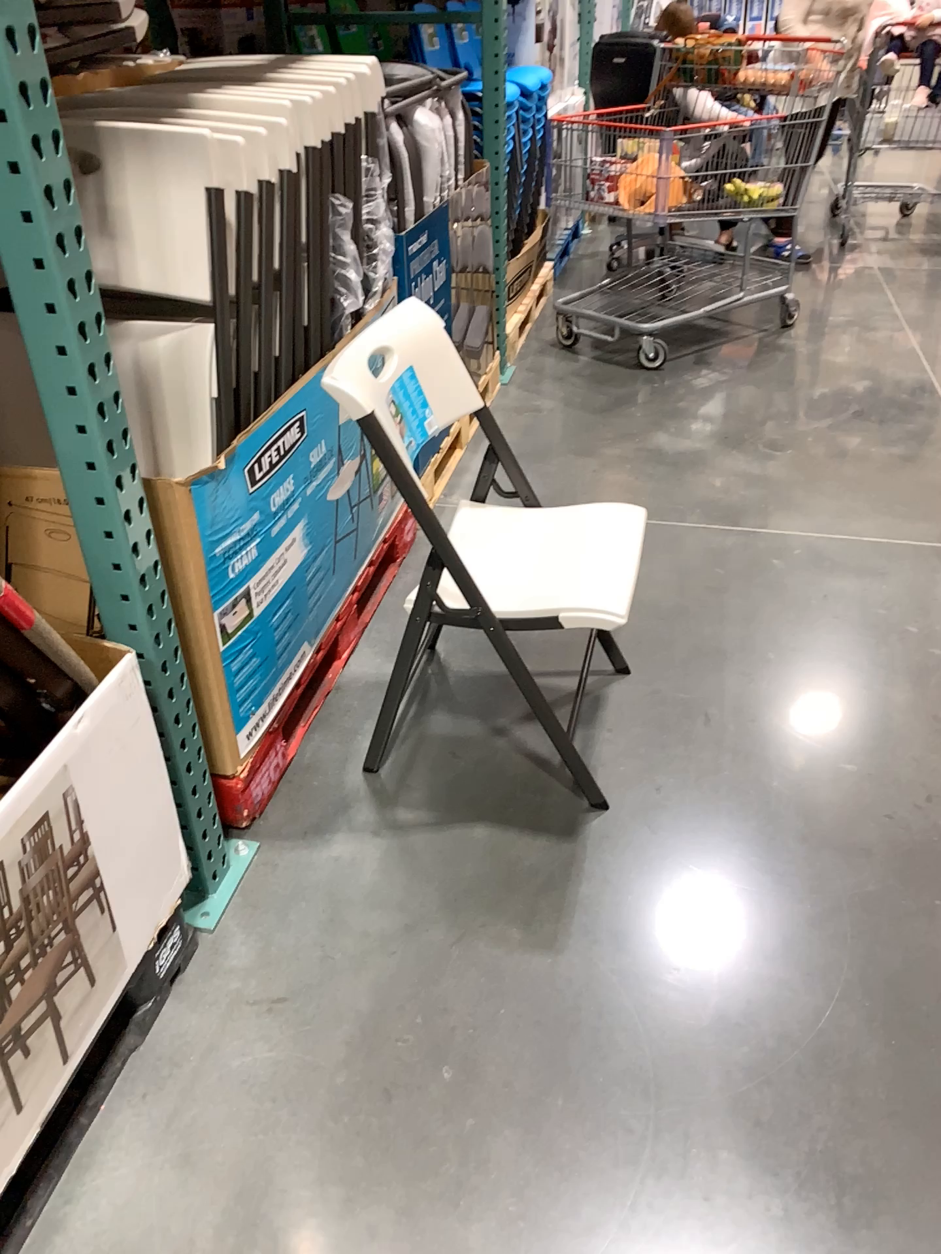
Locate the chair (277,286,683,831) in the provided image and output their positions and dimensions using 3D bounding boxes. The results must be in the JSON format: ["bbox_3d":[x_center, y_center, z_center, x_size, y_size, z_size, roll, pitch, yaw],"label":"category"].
[{"bbox_3d":[0.061,-0.147,1.811,0.574,0.806,0.568,6,34,10],"label":"chair"}]
